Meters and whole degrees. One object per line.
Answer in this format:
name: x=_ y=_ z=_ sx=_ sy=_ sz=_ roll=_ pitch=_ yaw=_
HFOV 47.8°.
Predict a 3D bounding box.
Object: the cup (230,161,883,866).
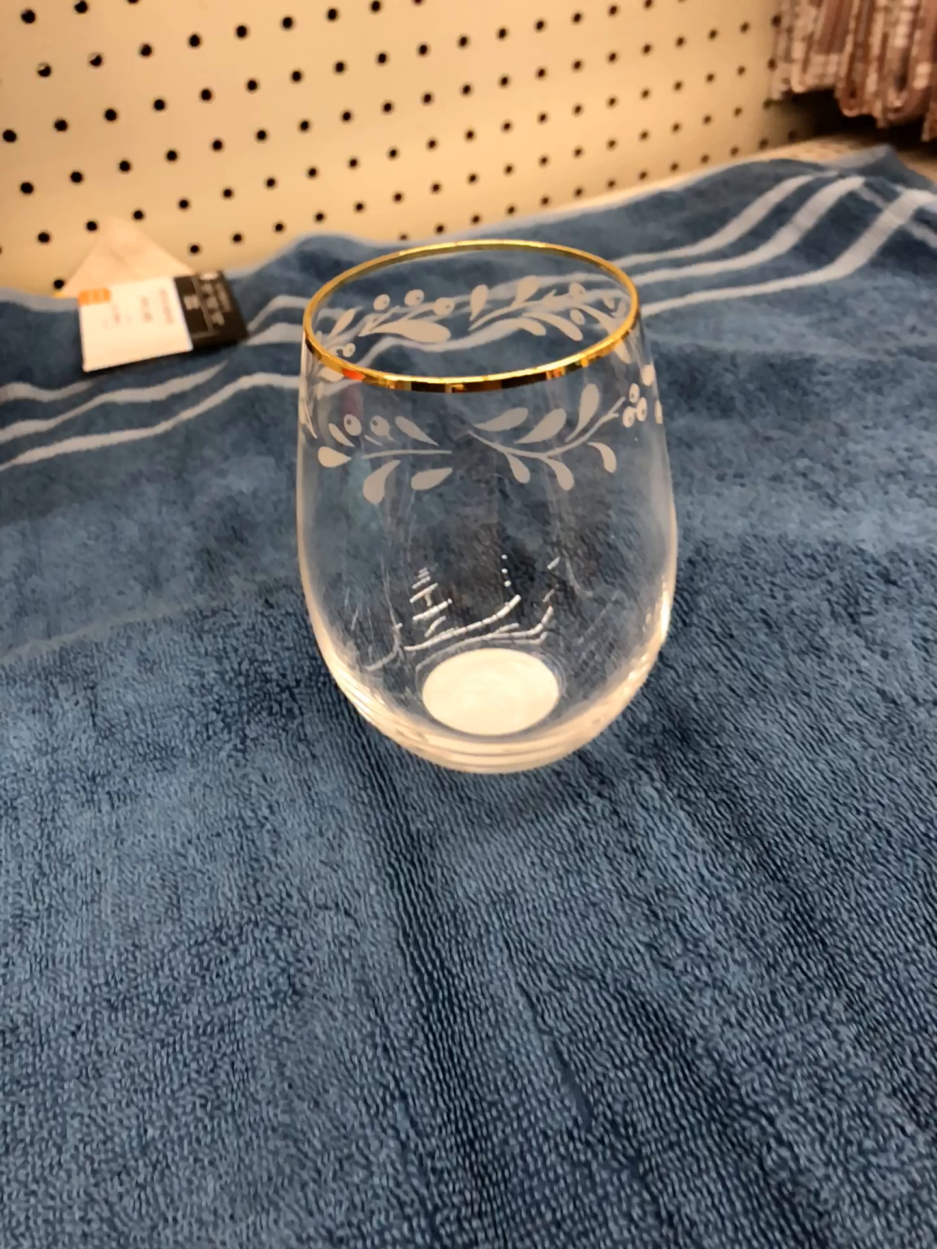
cup: x=0.014 y=-0.028 z=0.230 sx=0.090 sy=0.100 sz=0.090 roll=-4 pitch=40 yaw=3
